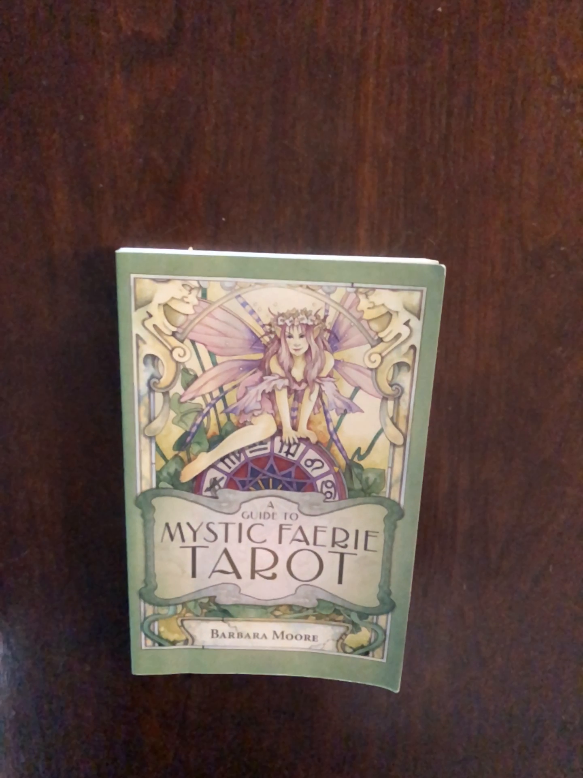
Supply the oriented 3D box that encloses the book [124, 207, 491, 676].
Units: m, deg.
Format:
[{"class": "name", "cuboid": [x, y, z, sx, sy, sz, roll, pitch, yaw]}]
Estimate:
[{"class": "book", "cuboid": [0.001, 0.031, 0.292, 0.139, 0.032, 0.209, 2, 108, -3]}]
